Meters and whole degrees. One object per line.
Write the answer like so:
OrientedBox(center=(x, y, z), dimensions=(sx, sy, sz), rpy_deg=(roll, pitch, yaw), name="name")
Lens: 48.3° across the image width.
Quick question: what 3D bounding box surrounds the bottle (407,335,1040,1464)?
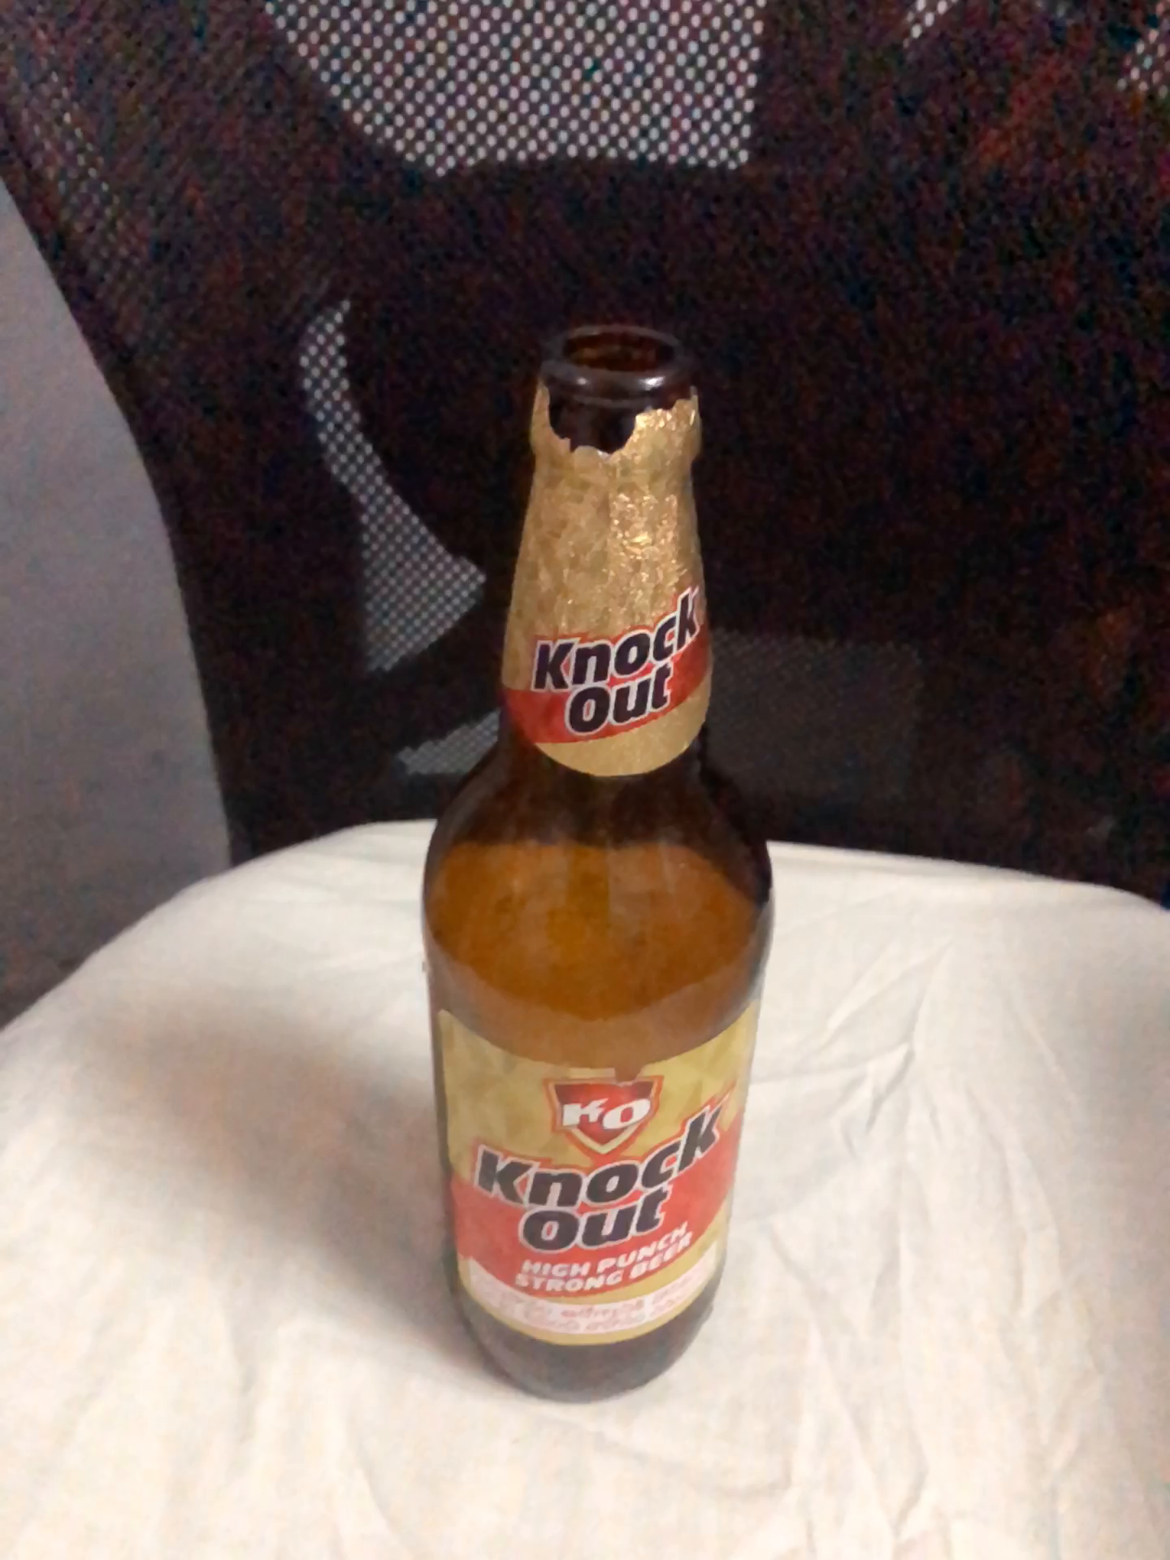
OrientedBox(center=(0.009, 0.044, 0.270), dimensions=(0.080, 0.249, 0.070), rpy_deg=(-3, 39, -8), name="bottle")
